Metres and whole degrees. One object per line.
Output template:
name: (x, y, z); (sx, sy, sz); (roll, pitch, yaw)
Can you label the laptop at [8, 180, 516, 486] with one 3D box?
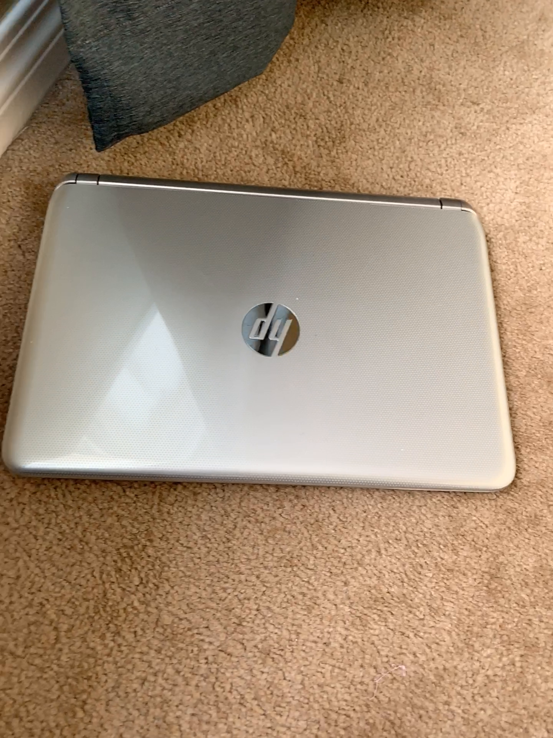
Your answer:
laptop: (-0.005, -0.035, 0.410); (0.328, 0.002, 0.223); (3, 68, -3)
